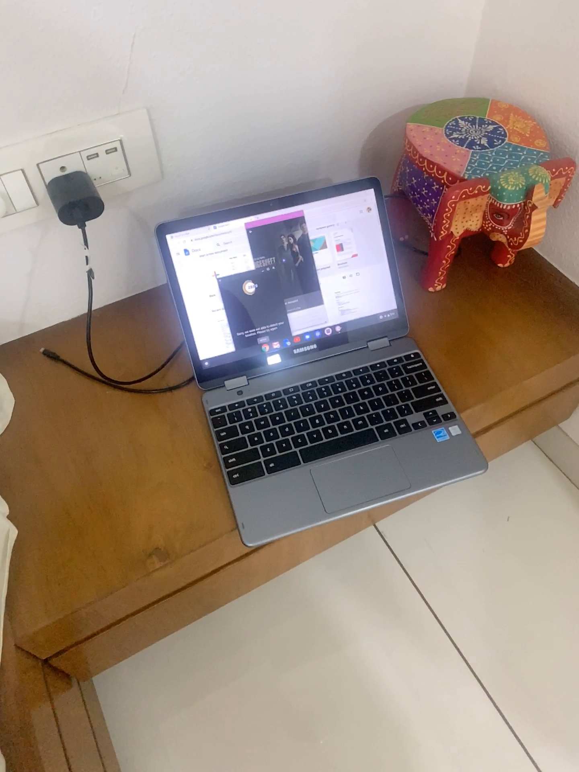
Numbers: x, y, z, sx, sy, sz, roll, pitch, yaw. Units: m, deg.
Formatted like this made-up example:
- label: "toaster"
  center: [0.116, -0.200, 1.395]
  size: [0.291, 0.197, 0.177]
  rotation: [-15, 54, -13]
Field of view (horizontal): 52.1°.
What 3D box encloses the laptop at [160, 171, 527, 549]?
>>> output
- label: "laptop"
  center: [0.039, -0.053, 0.755]
  size: [0.314, 0.164, 0.384]
  rotation: [-16, 57, -9]
